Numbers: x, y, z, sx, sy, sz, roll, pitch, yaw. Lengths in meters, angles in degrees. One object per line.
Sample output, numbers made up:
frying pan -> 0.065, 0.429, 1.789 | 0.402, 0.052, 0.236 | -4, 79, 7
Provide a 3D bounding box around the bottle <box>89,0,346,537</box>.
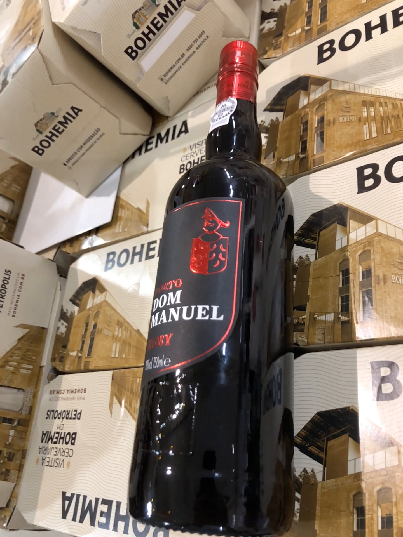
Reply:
bottle -> 0.020, -0.024, 0.263 | 0.090, 0.070, 0.331 | -10, 63, 31
